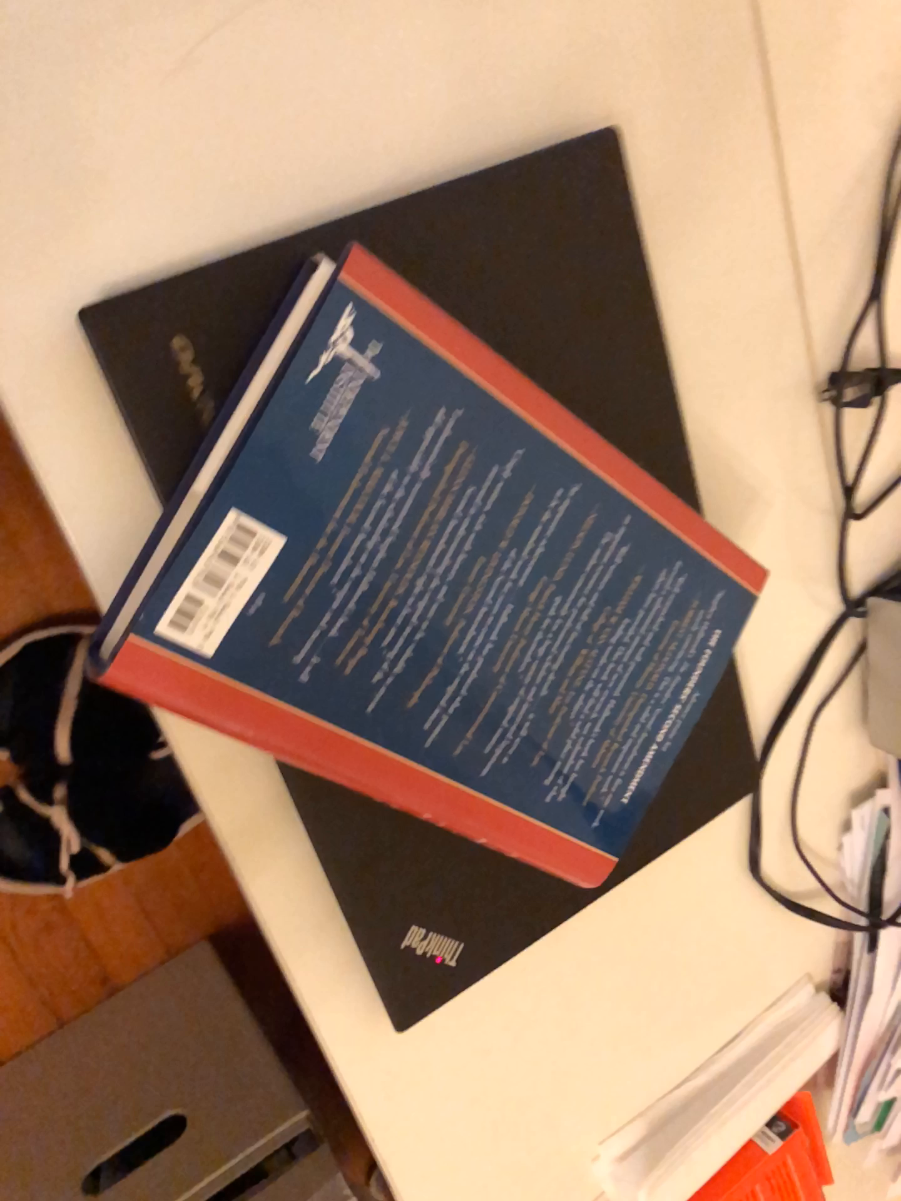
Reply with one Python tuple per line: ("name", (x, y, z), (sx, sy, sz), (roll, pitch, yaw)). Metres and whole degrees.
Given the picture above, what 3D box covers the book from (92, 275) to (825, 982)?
("book", (0.022, 0.025, 0.377), (0.241, 0.040, 0.170), (32, 84, -30))
